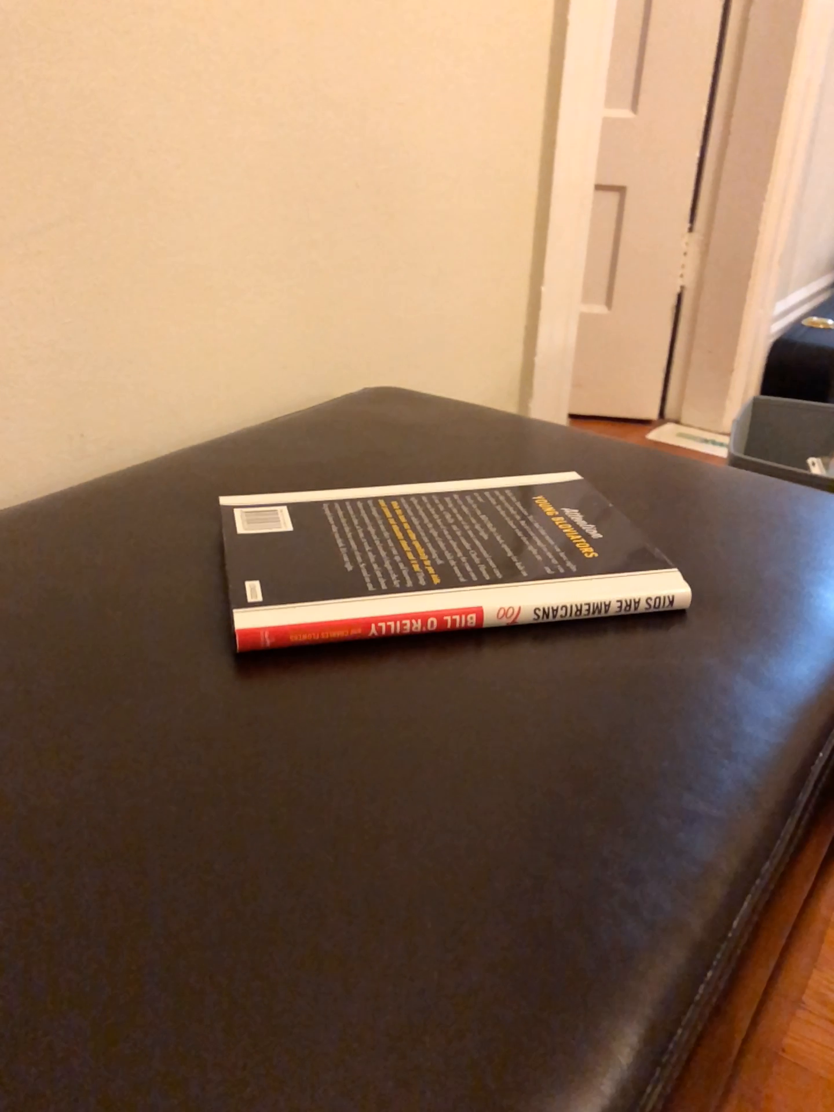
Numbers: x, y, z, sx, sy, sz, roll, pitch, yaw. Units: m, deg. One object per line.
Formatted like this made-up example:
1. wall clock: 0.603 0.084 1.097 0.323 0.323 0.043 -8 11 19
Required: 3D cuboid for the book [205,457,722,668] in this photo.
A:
1. book: 0.012 -0.007 0.479 0.230 0.020 0.161 -5 28 -14
